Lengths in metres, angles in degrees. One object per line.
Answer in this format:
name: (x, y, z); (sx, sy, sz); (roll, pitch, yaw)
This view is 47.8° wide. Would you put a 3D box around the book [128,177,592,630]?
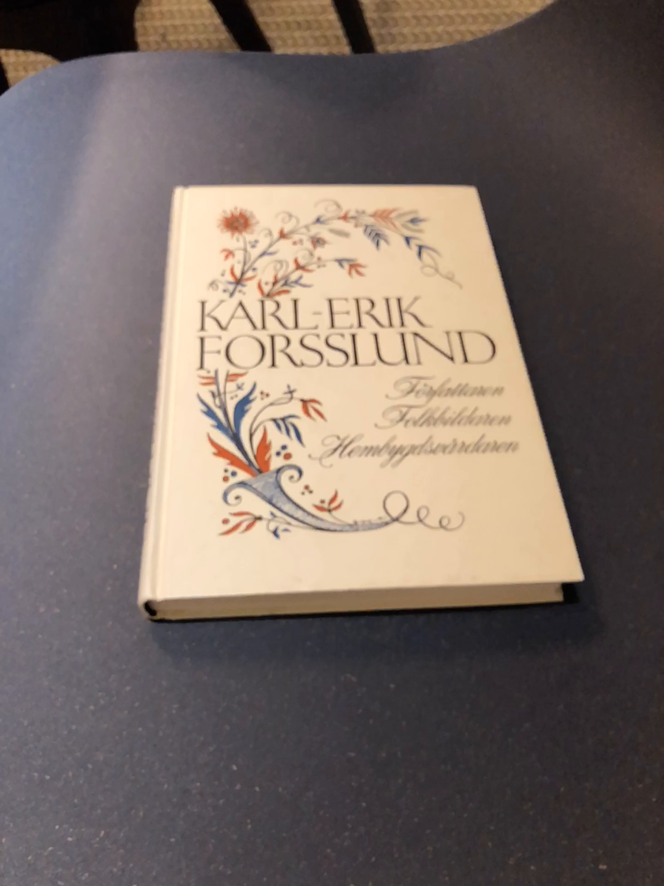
book: (0.004, -0.036, 0.341); (0.164, 0.028, 0.233); (-2, 55, -3)
